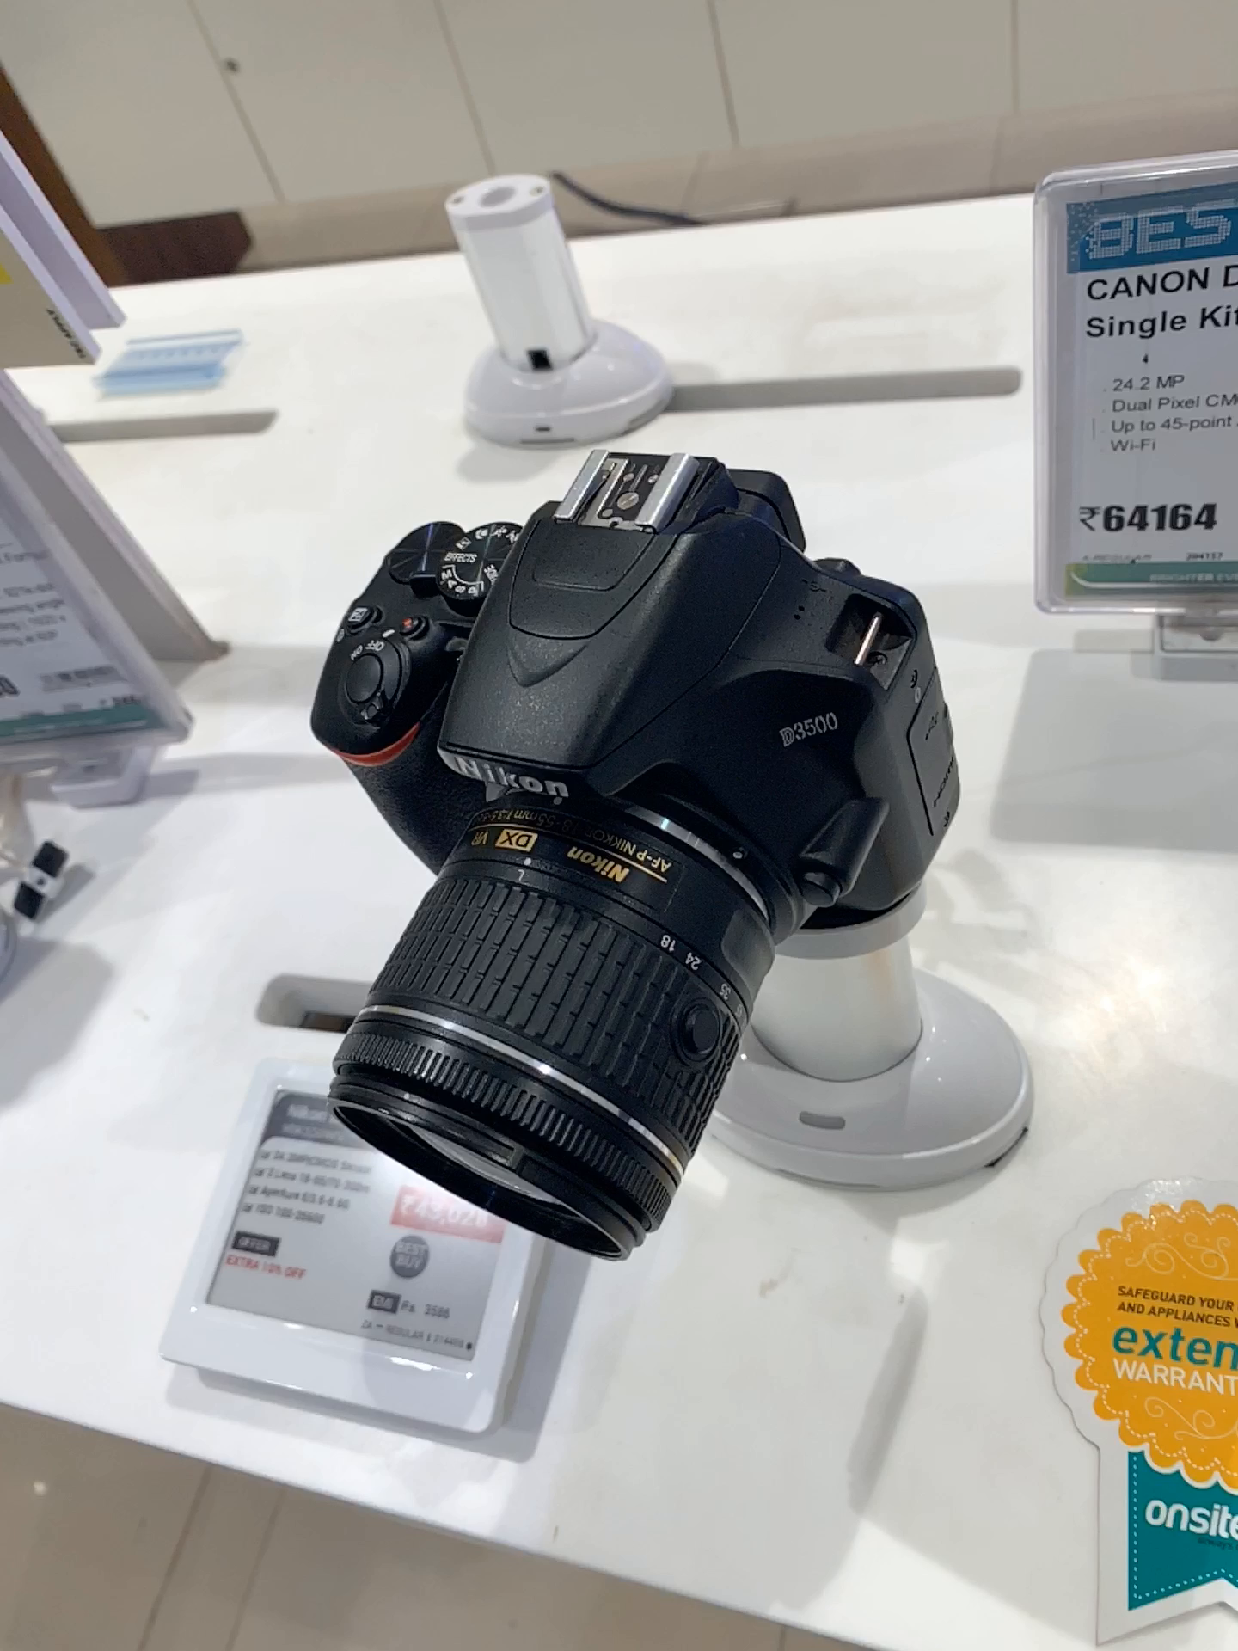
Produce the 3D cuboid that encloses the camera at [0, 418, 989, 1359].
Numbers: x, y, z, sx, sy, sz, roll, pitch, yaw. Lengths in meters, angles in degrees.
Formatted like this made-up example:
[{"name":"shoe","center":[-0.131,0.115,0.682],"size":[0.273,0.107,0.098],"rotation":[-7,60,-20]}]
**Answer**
[{"name":"camera","center":[-0.009,0.006,0.214],"size":[0.110,0.090,0.103],"rotation":[13,59,26]}]
